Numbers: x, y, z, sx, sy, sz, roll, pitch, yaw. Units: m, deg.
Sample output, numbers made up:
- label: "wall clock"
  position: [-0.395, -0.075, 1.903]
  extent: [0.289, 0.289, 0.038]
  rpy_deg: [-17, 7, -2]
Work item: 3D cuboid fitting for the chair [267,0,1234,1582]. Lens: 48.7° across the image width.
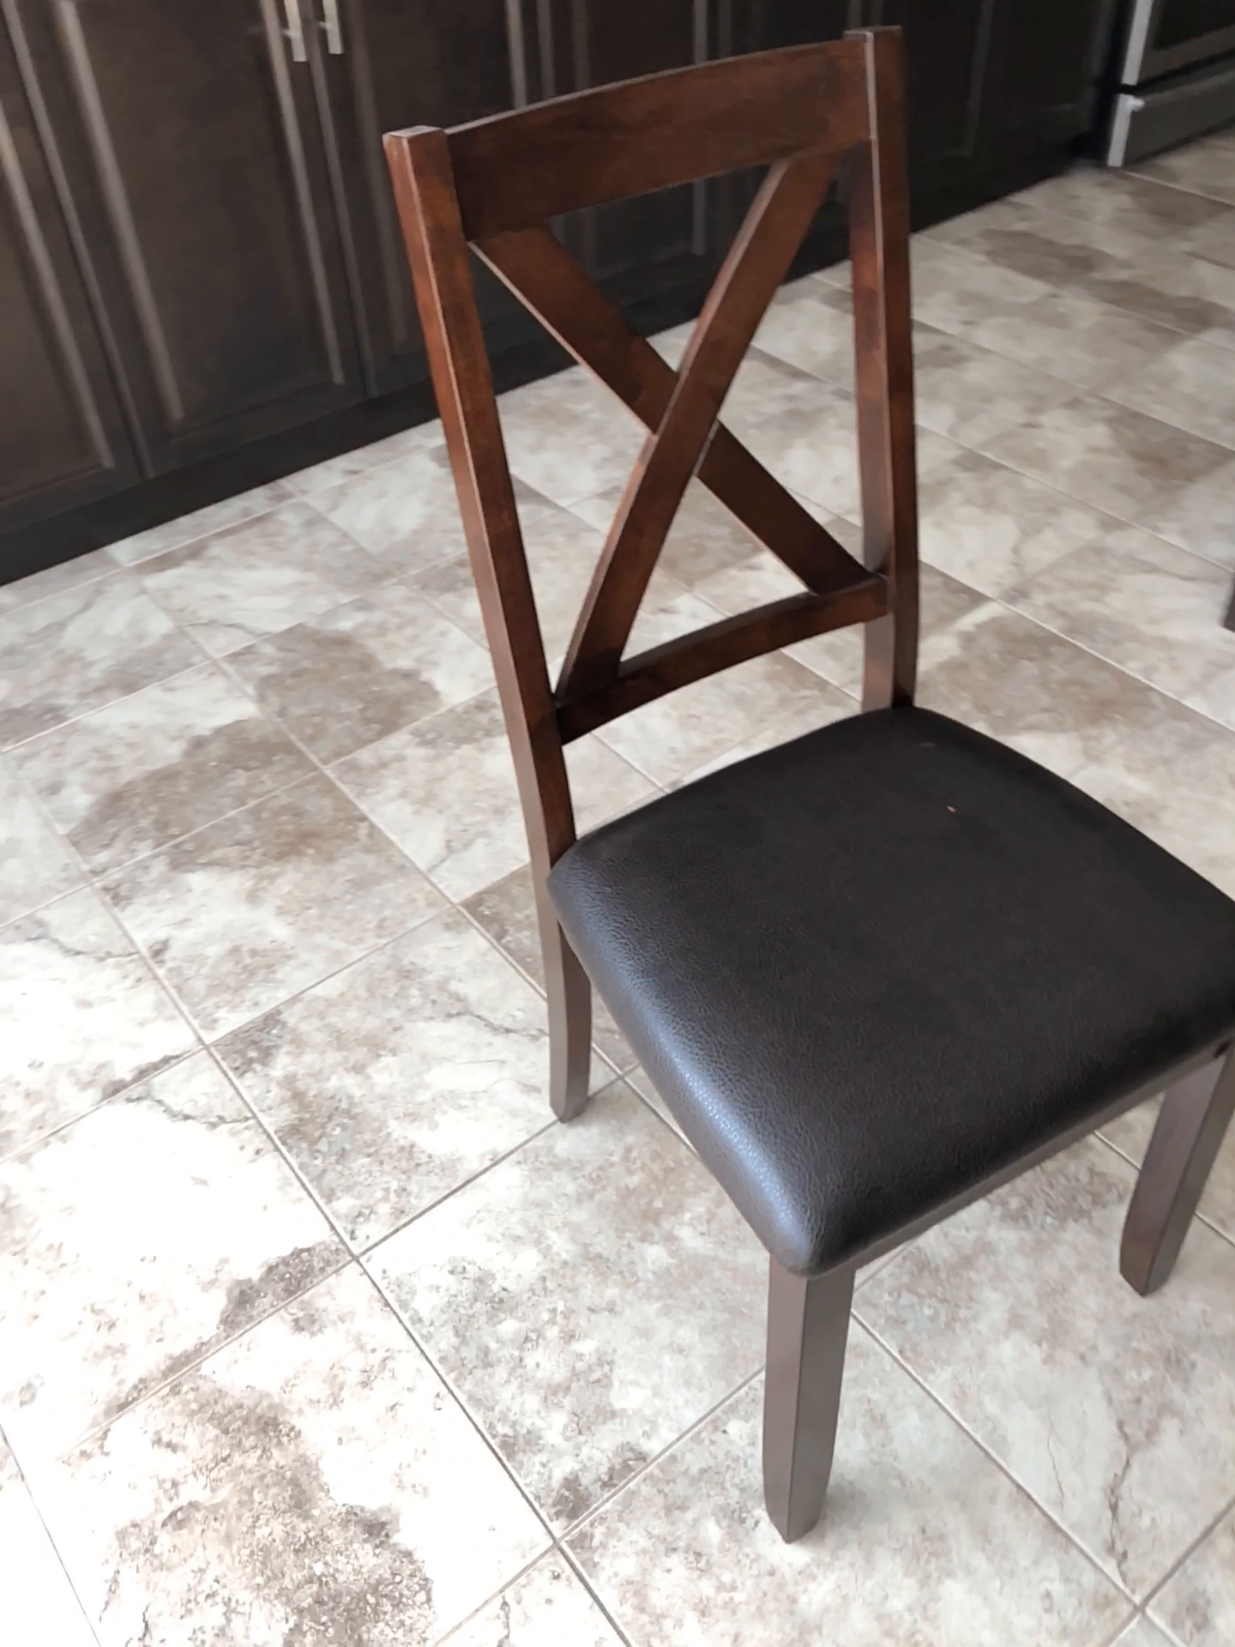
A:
- label: "chair"
  position: [0.165, -0.010, 1.023]
  extent: [0.480, 0.936, 0.602]
  rpy_deg: [-23, 46, -20]
